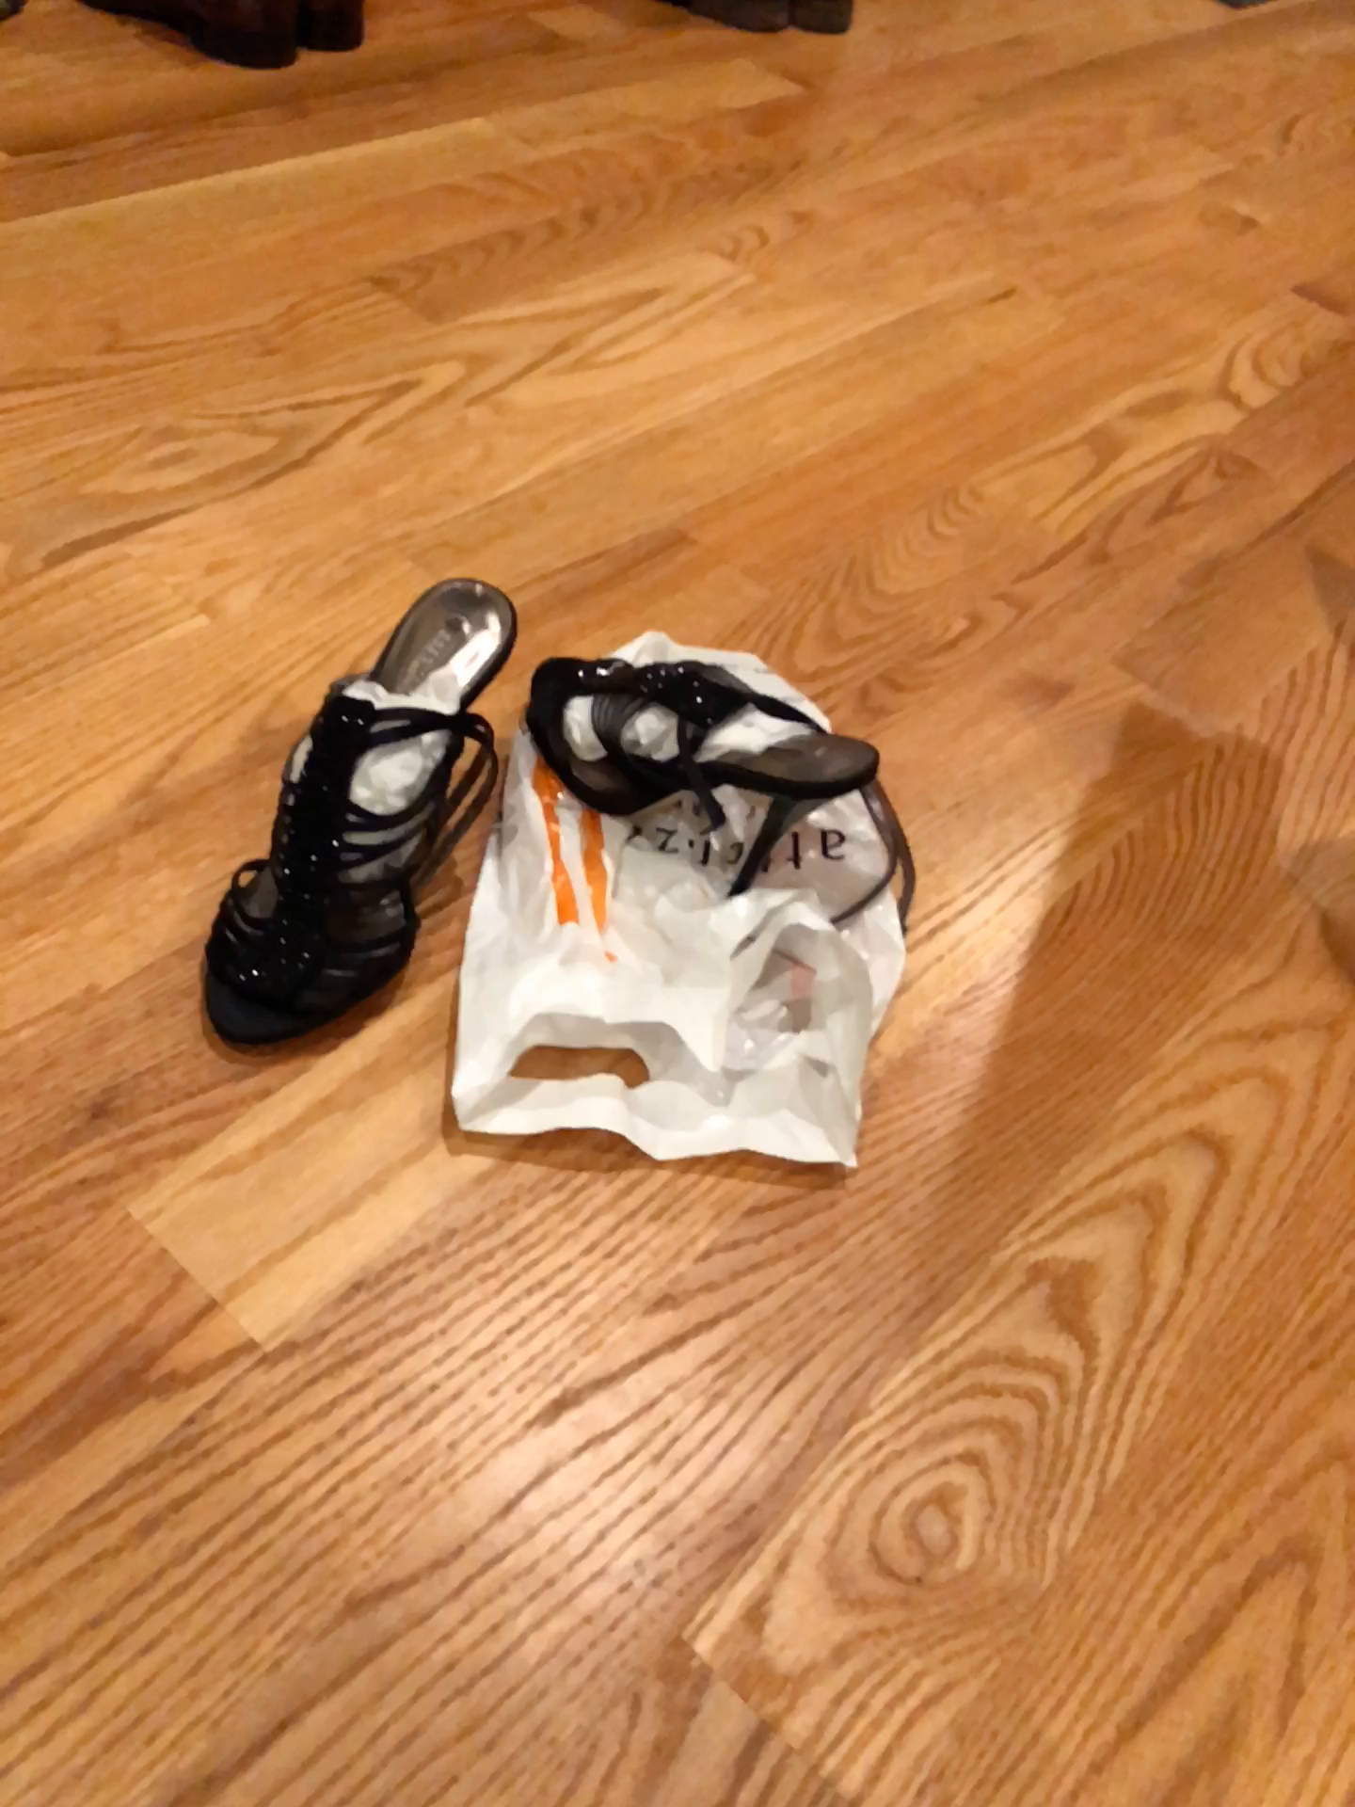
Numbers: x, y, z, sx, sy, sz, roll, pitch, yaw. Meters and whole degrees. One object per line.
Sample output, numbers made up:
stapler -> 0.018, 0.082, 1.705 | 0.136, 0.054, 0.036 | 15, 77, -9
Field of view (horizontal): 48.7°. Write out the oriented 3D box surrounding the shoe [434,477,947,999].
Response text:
shoe -> -0.004, -0.081, 0.687 | 0.092, 0.112, 0.218 | -31, 61, -35

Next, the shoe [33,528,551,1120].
shoe -> -0.146, -0.041, 0.614 | 0.090, 0.112, 0.218 | 23, 46, 8
